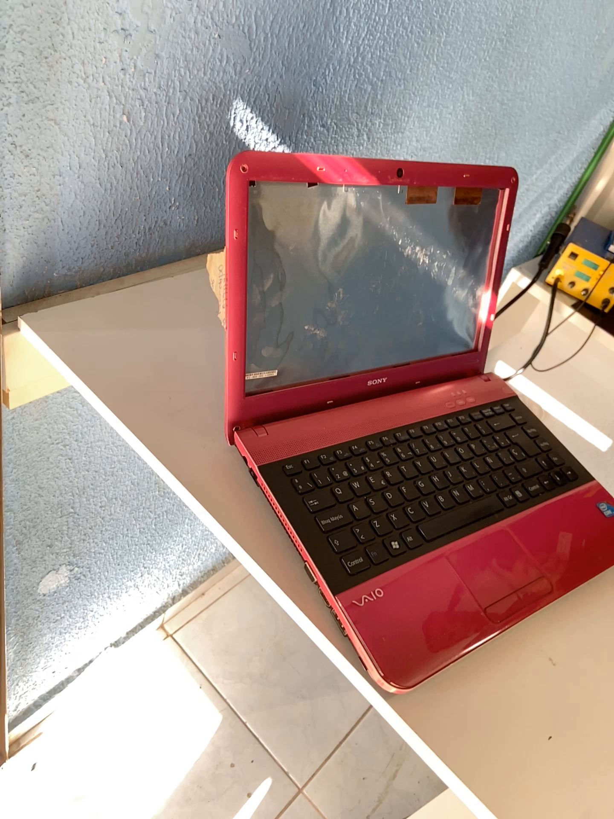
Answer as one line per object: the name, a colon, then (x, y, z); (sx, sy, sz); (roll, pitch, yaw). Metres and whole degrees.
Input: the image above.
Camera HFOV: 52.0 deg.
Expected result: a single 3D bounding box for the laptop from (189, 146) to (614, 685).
laptop: (0.136, -0.035, 0.534); (0.332, 0.187, 0.340); (-12, 52, -34)
